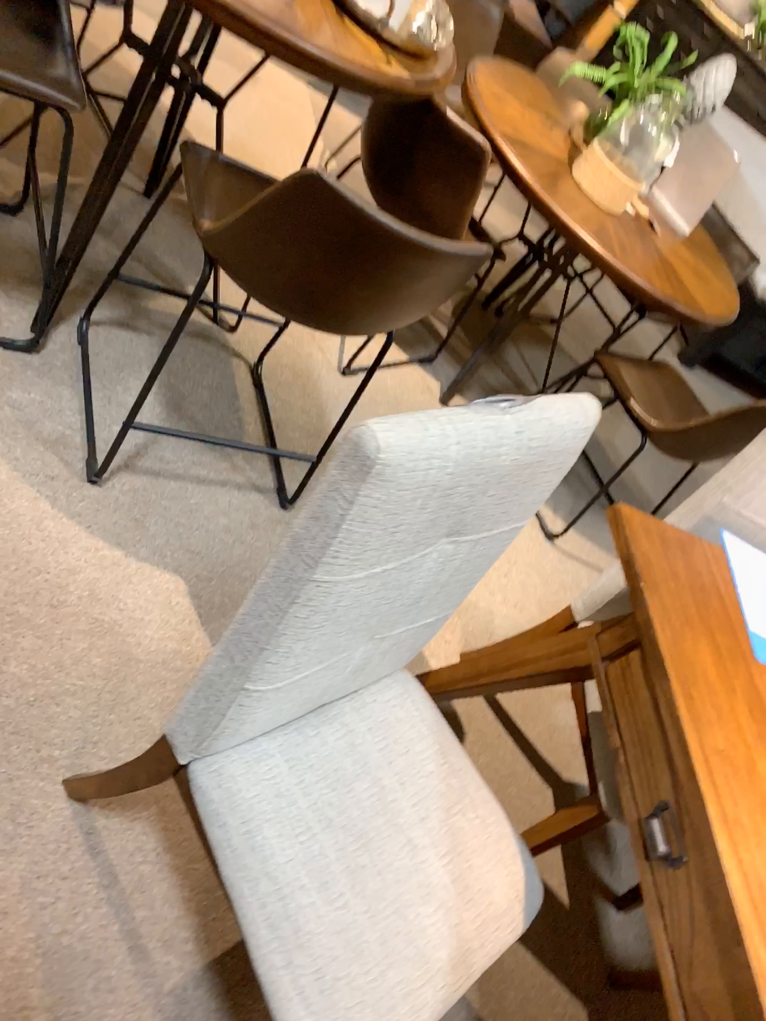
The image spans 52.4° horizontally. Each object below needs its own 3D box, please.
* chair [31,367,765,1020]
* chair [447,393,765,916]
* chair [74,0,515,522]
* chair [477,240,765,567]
[{"bbox_3d":[0.000,0.356,1.032,0.486,0.913,0.627,-11,64,-45],"label":"chair"},{"bbox_3d":[0.639,0.360,1.564,0.515,0.913,0.599,20,44,-27],"label":"chair"},{"bbox_3d":[-0.254,-0.447,1.607,0.495,0.794,0.568,8,53,-36],"label":"chair"},{"bbox_3d":[0.823,-0.289,2.407,0.526,0.744,0.598,-1,58,-41],"label":"chair"}]
